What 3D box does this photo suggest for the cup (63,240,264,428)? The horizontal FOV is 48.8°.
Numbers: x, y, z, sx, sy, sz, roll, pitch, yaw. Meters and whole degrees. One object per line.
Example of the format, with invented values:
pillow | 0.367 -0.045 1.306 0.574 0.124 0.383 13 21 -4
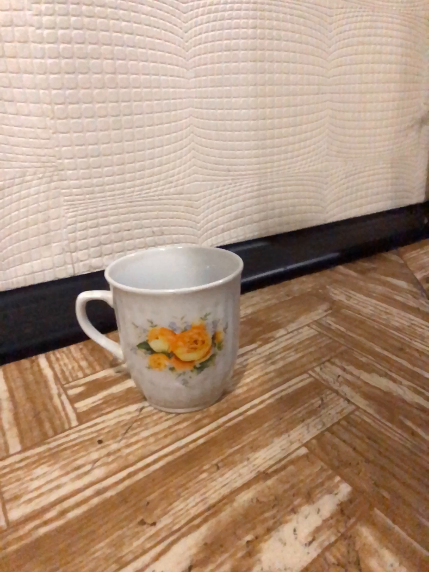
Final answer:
cup | -0.030 0.021 0.284 0.097 0.069 0.095 -2 20 1
